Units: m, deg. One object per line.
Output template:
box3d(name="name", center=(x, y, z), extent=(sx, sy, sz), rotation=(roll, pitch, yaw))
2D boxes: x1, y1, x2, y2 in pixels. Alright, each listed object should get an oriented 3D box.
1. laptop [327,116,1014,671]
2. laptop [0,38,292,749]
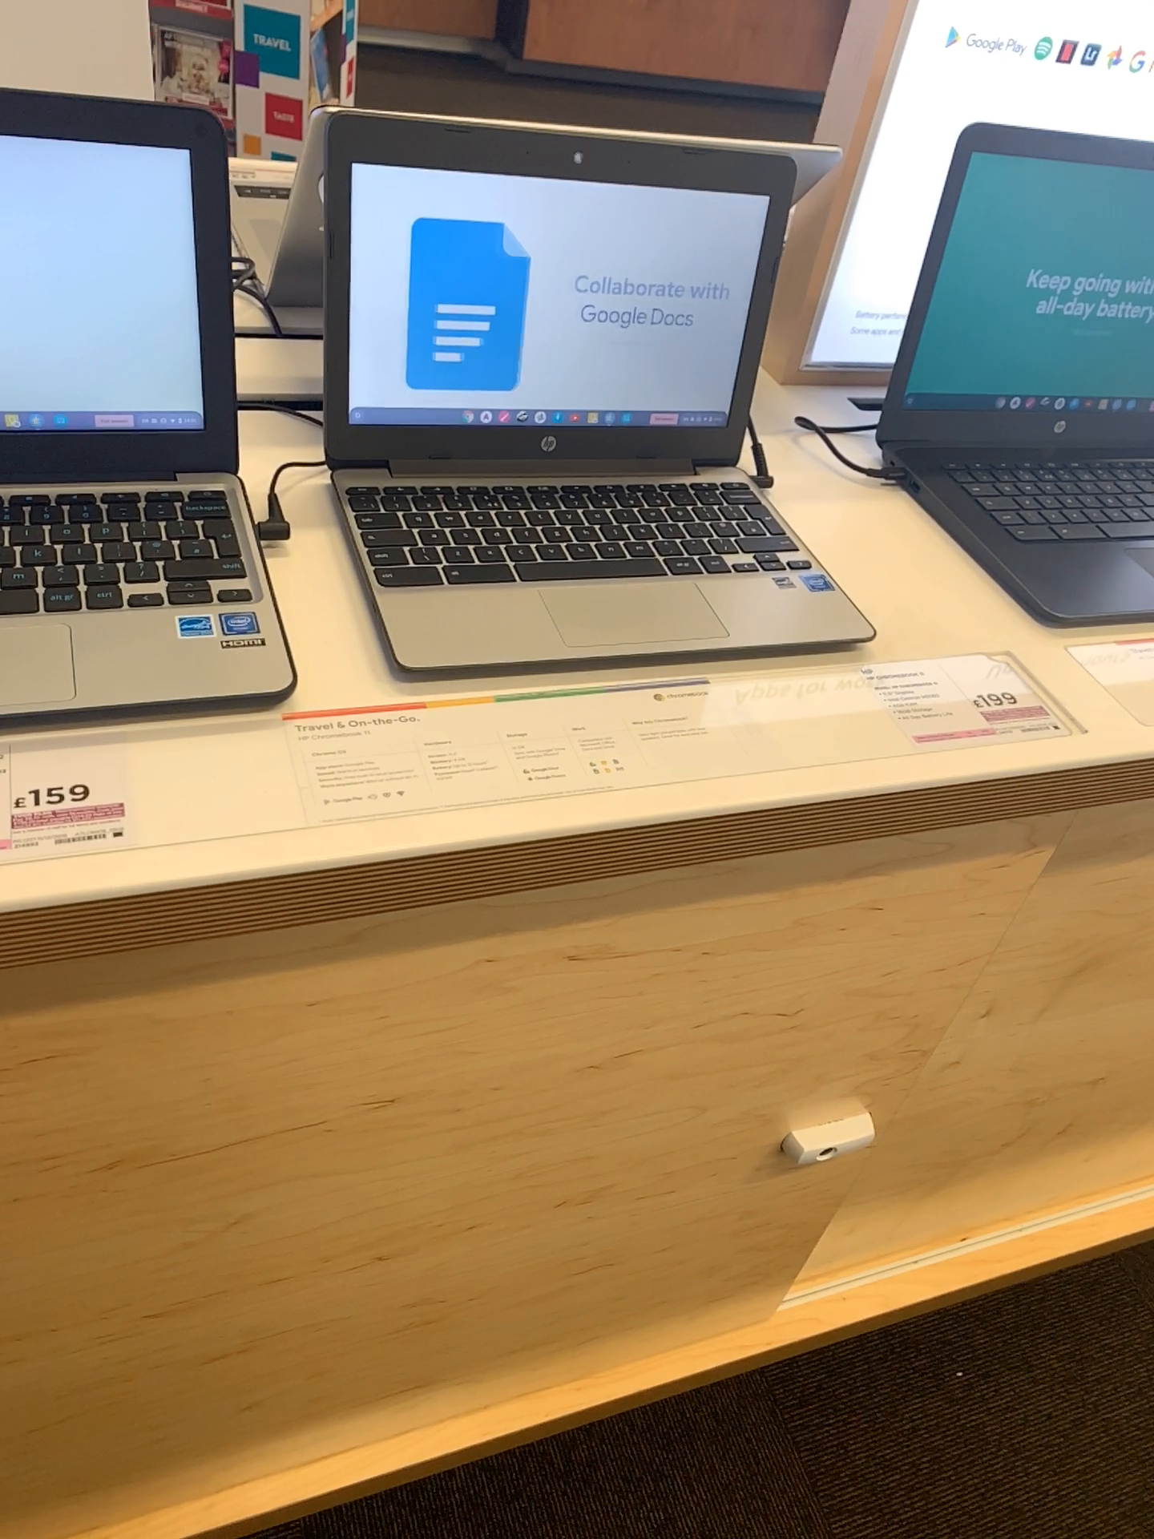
box3d(name="laptop", center=(0.025, -0.207, 0.645), extent=(0.278, 0.185, 0.229), rotation=(-6, 44, -20))
box3d(name="laptop", center=(-0.290, -0.166, 0.516), extent=(0.287, 0.180, 0.222), rotation=(-7, 45, -21))
